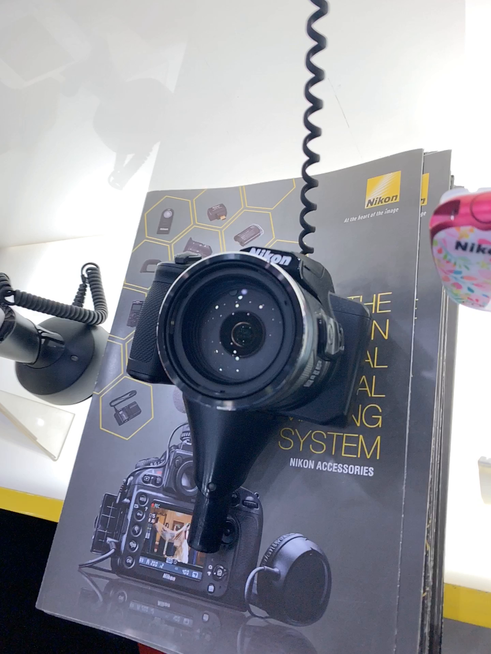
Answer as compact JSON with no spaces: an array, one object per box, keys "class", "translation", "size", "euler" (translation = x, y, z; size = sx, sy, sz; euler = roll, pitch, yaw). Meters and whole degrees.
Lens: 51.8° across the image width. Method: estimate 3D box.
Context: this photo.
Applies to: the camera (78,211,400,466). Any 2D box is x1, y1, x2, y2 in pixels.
[{"class":"camera","translation":[-0.002,0.003,0.253],"size":[0.121,0.080,0.090],"euler":[12,88,32]}]
